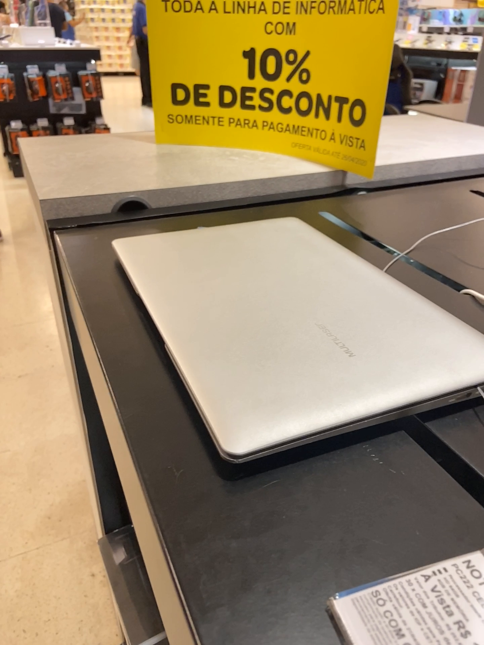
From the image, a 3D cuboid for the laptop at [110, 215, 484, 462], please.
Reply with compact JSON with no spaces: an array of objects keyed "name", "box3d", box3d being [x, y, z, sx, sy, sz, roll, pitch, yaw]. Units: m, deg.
[{"name":"laptop","box3d":[0.026,-0.026,0.409,0.205,0.003,0.316,-12,33,-20]}]
